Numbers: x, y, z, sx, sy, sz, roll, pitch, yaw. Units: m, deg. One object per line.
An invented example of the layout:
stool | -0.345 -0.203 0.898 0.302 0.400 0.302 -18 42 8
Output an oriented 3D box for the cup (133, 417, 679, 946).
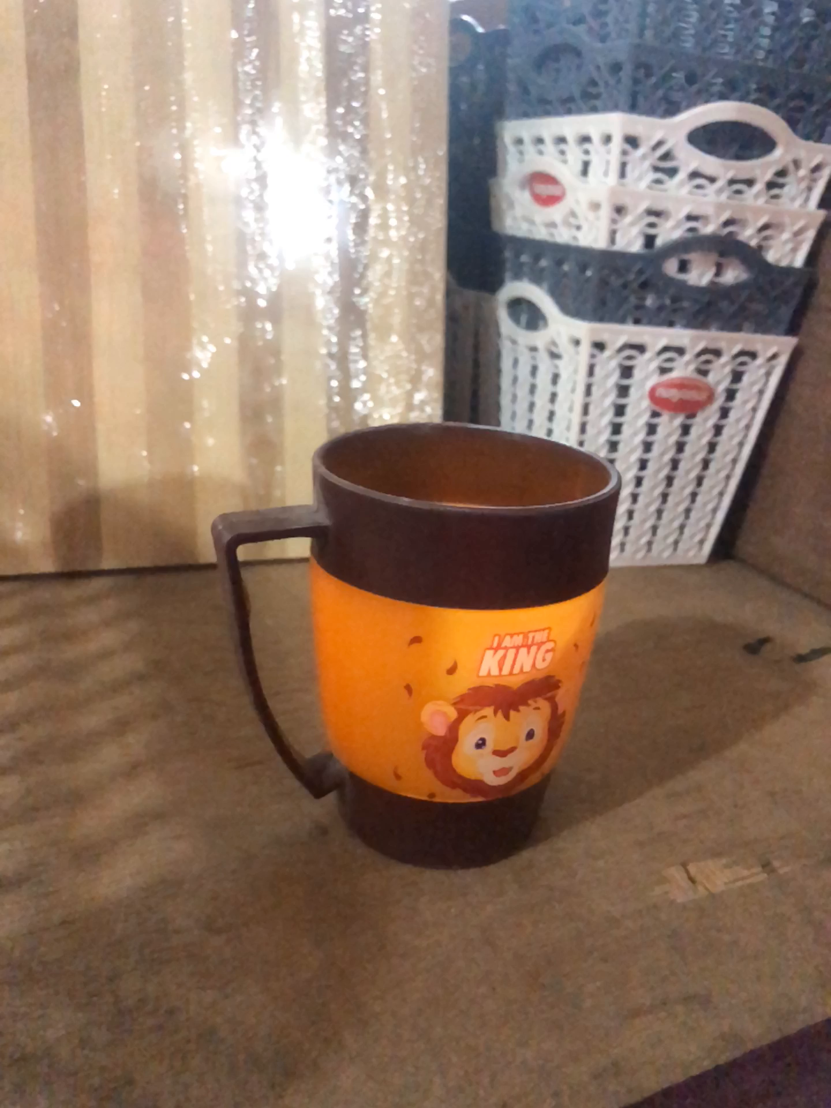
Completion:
cup | -0.008 0.022 0.211 0.100 0.090 0.060 -4 24 -19
